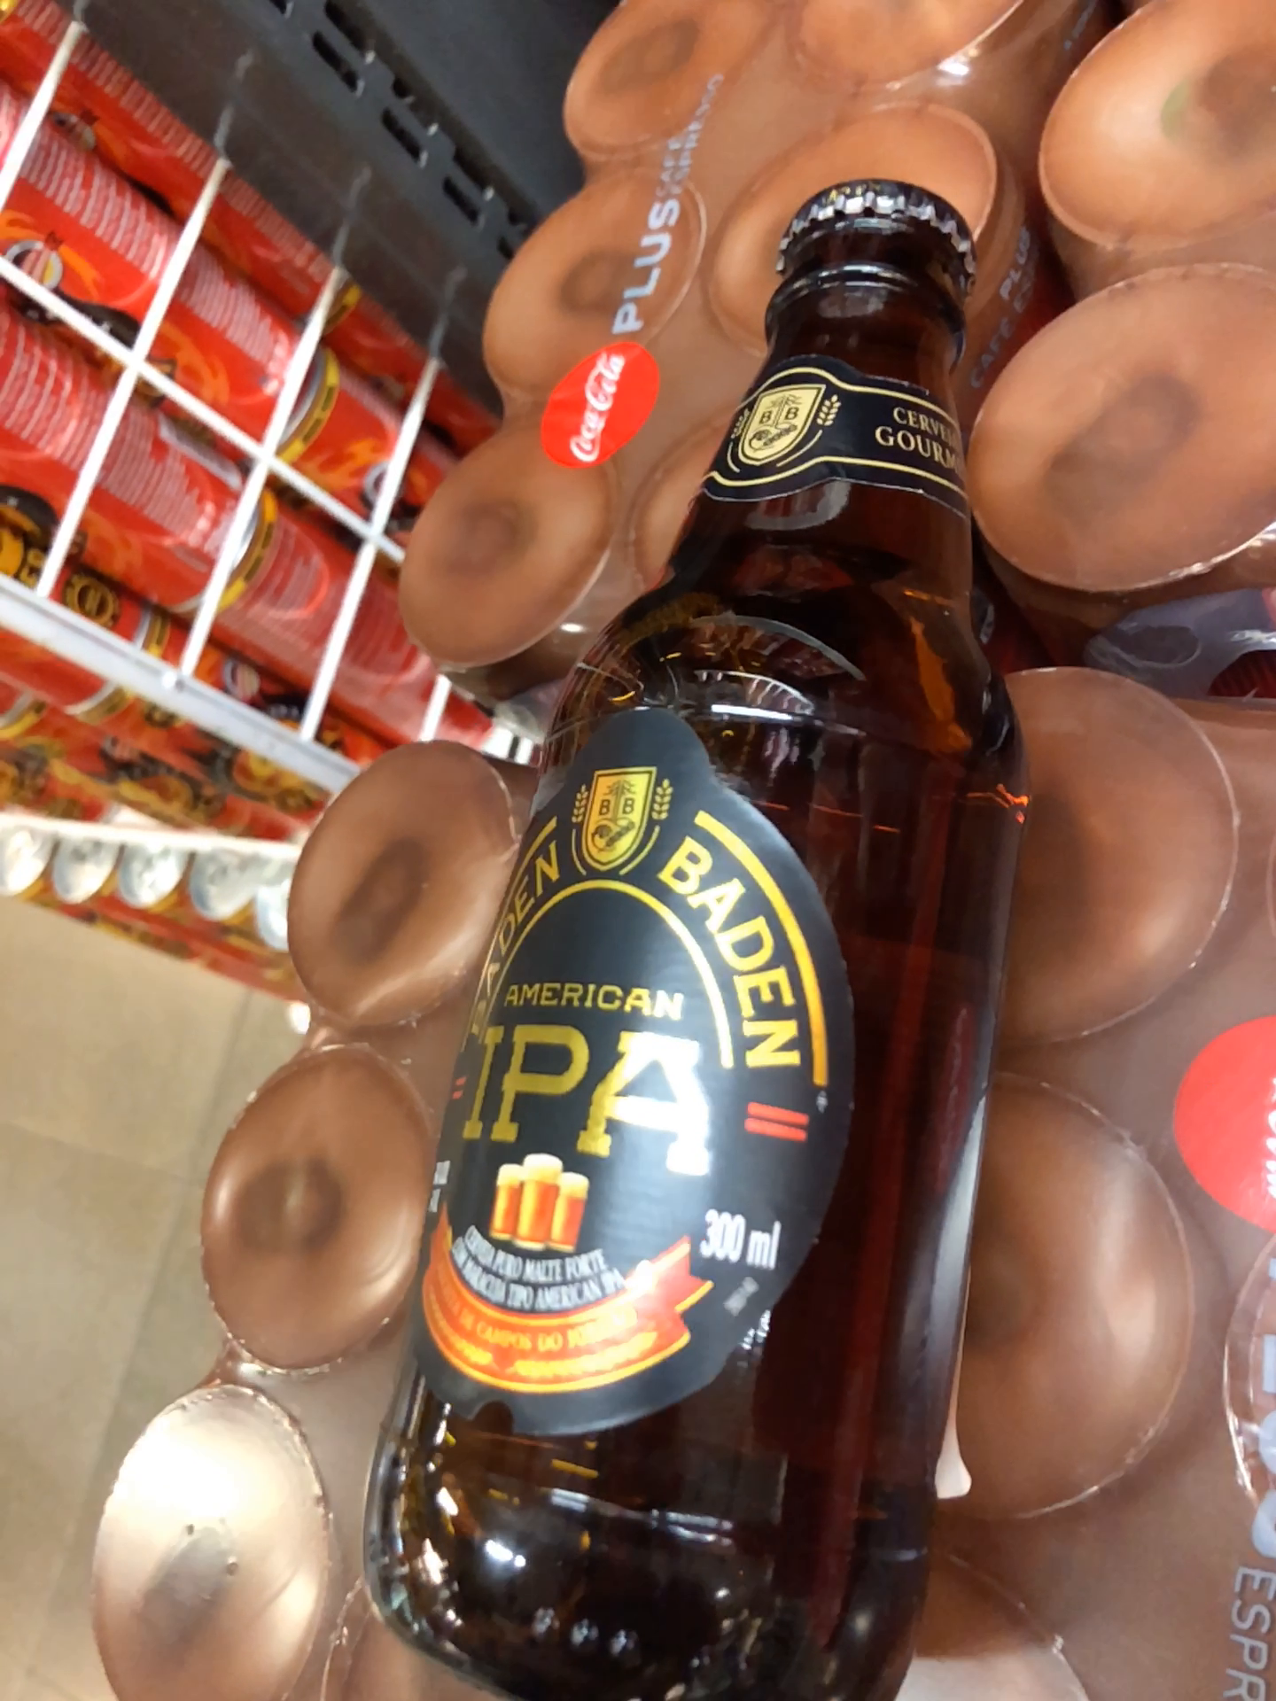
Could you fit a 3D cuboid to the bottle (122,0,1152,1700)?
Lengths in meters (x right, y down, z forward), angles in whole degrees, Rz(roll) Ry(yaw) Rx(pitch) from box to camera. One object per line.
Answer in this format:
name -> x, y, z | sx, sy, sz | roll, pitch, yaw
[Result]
bottle -> 0.011, -0.011, 0.174 | 0.070, 0.050, 0.210 | 0, 70, 34
